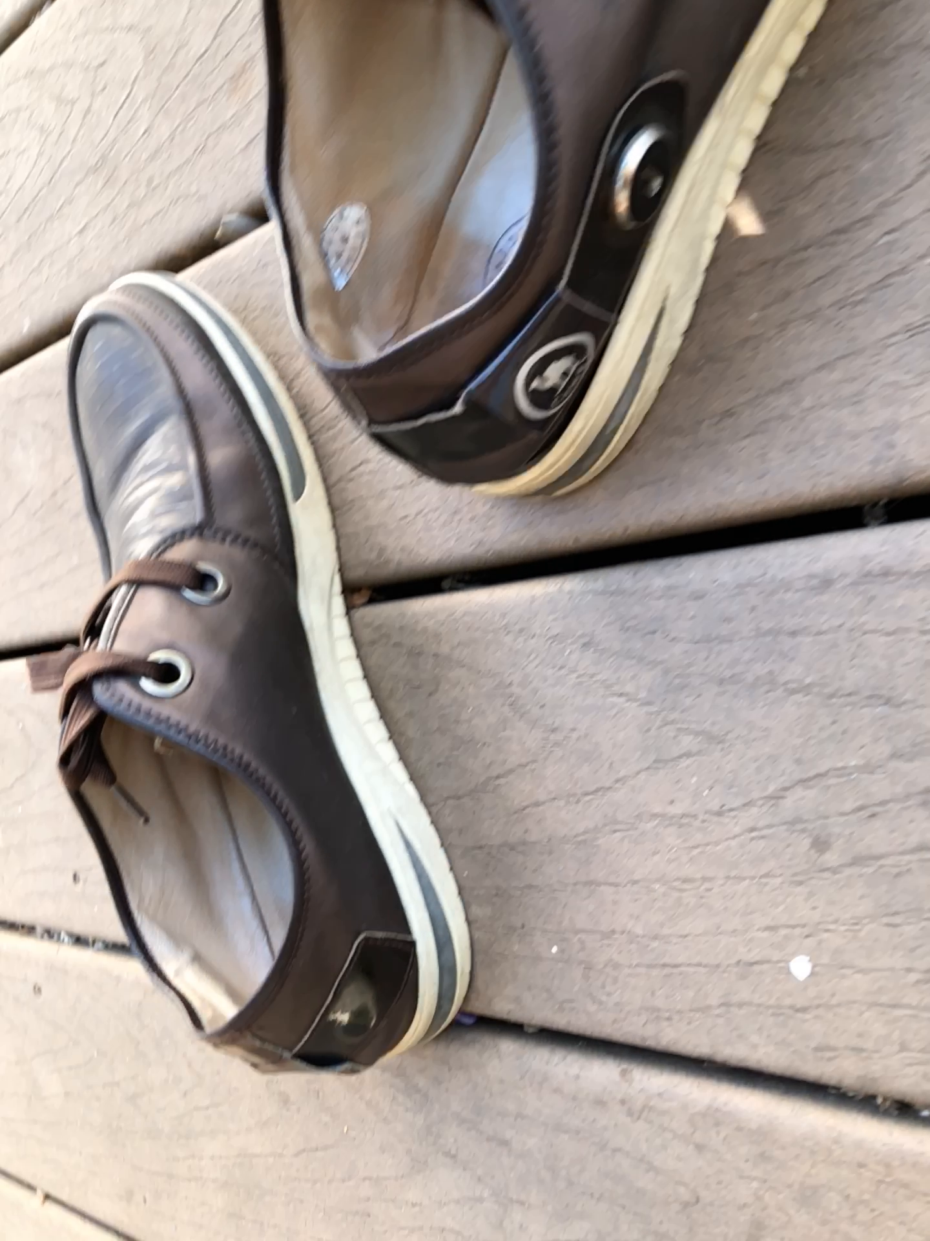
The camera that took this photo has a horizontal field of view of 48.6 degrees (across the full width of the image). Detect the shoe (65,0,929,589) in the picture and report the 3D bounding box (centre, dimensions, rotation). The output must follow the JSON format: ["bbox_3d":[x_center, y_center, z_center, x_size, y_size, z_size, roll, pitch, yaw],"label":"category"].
[{"bbox_3d":[0.024,-0.168,0.227,0.110,0.116,0.304,37,116,32],"label":"shoe"}]

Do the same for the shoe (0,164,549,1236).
[{"bbox_3d":[-0.102,0.019,0.351,0.111,0.116,0.302,-32,73,37],"label":"shoe"}]
